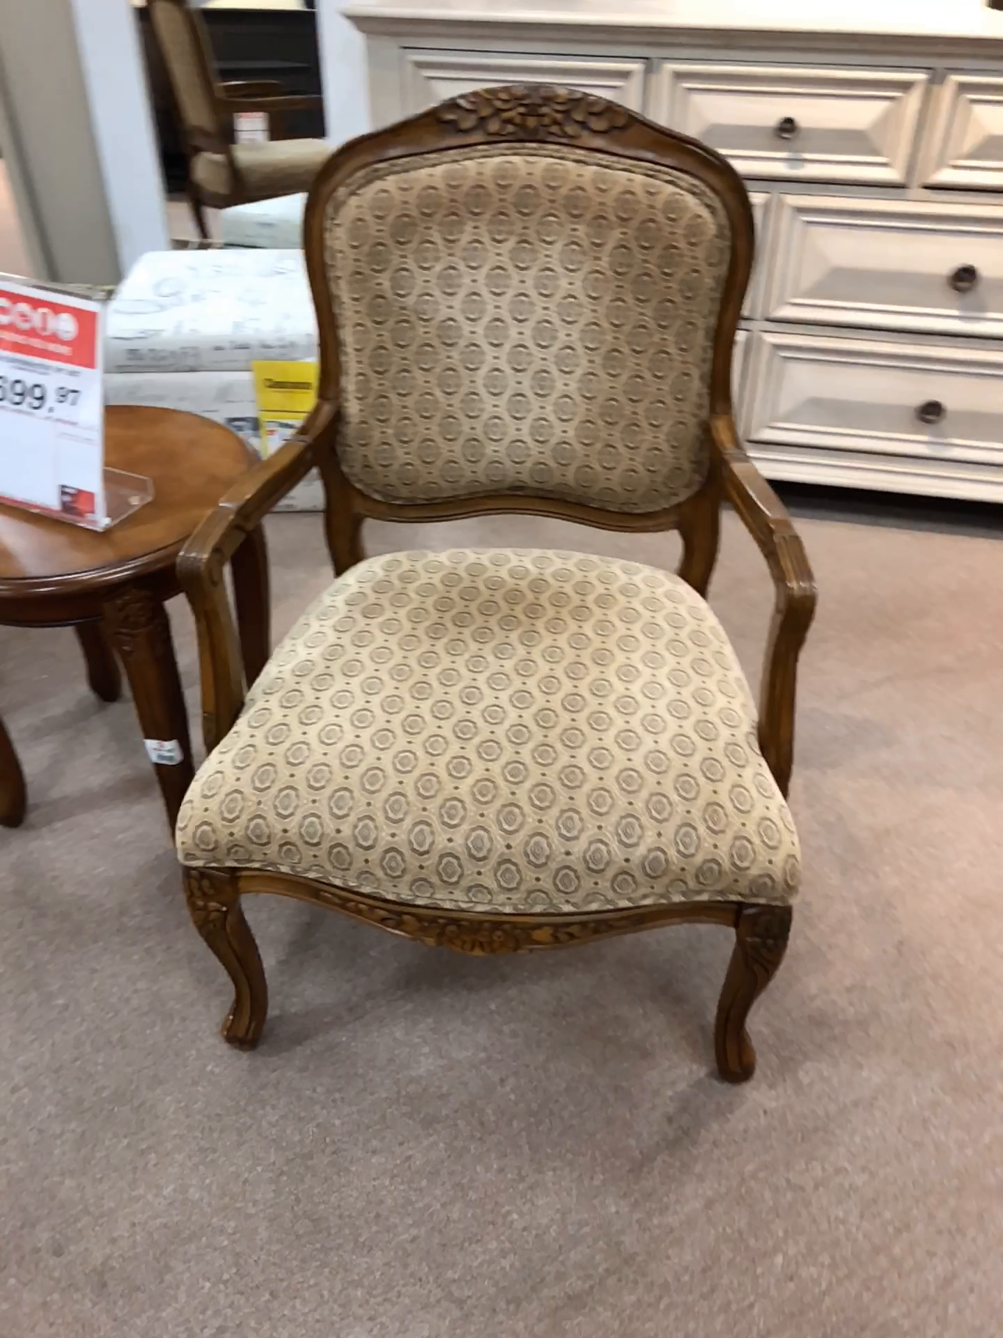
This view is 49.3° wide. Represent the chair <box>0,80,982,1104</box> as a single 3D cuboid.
[{"bbox_3d":[-0.013,-0.090,1.407,0.780,1.063,0.705,3,38,4],"label":"chair"}]
